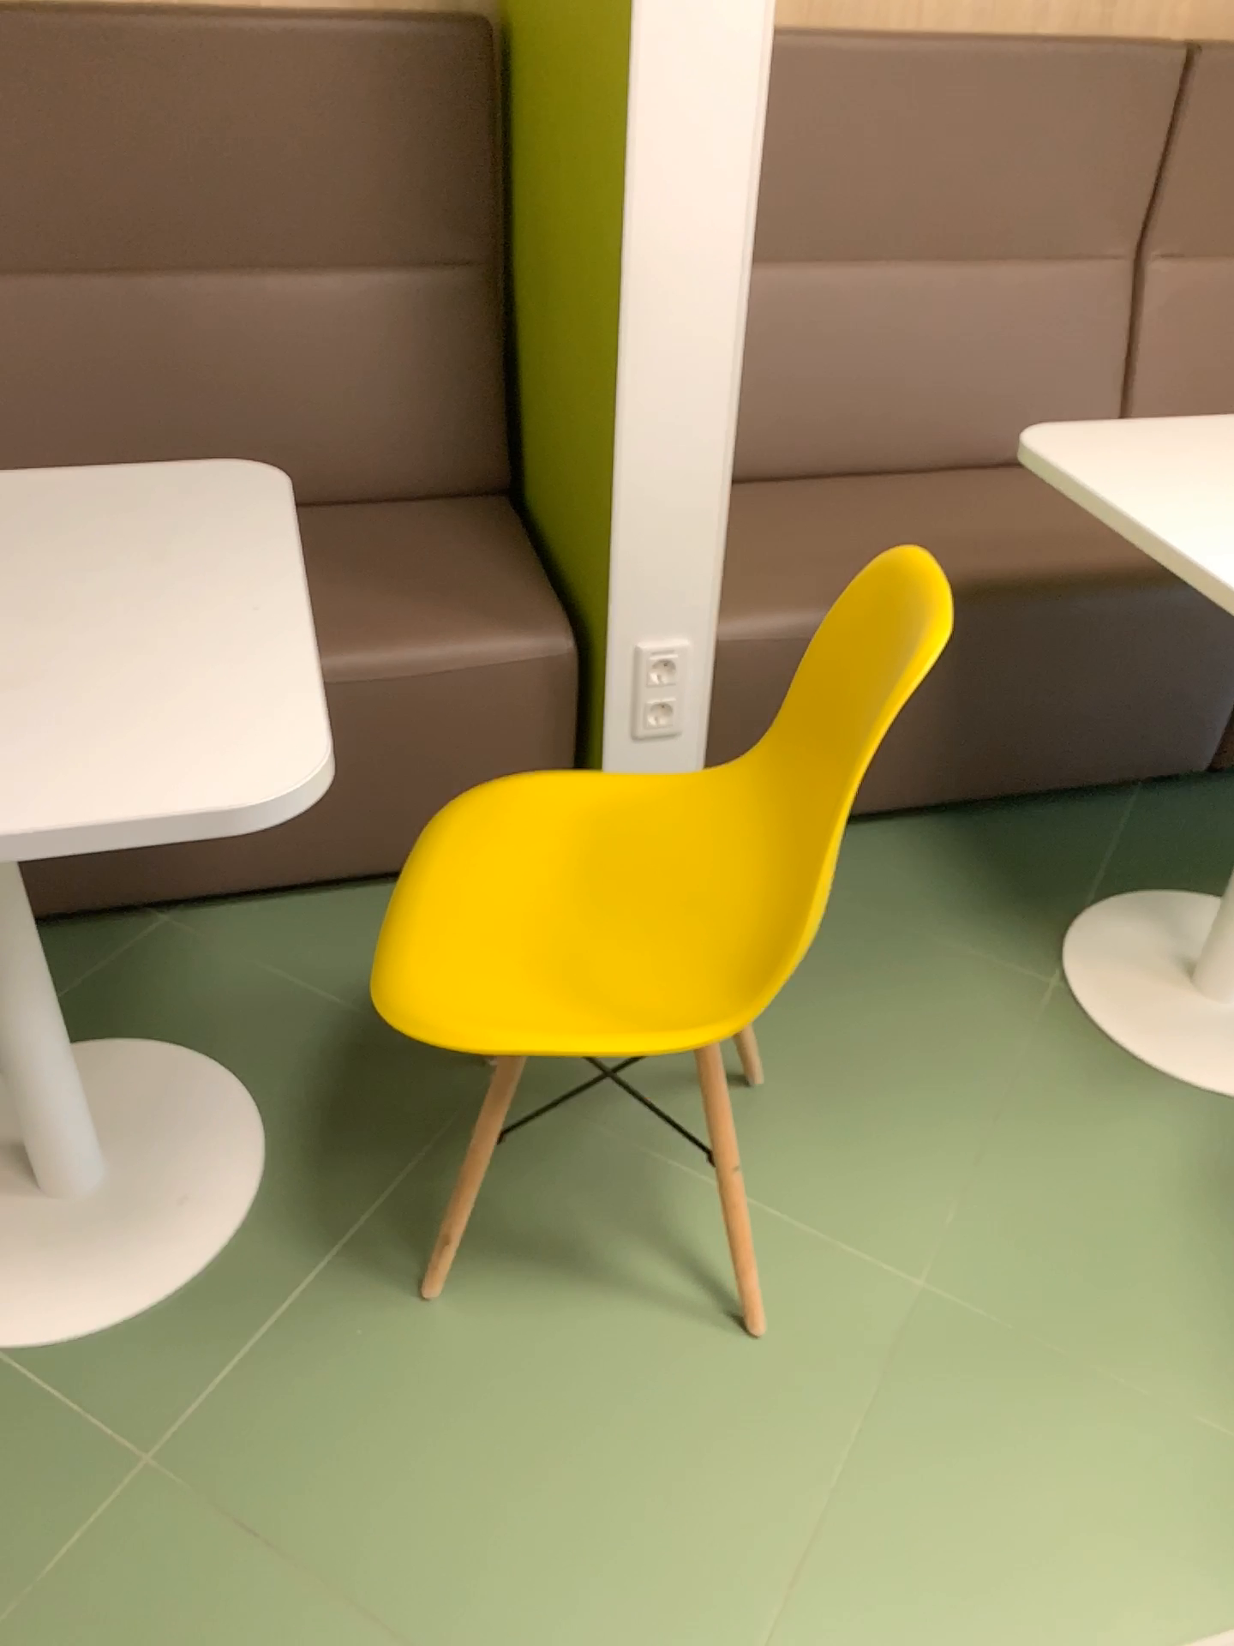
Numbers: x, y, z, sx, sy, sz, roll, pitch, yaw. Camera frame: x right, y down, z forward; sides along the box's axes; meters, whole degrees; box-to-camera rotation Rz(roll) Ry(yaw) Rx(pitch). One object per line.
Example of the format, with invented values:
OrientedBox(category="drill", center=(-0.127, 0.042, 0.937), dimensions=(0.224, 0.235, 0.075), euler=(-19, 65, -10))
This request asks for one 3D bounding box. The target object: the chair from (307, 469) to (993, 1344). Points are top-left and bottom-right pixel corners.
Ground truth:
OrientedBox(category="chair", center=(0.016, 0.109, 1.363), dimensions=(0.520, 0.815, 0.412), euler=(5, 35, 1))
